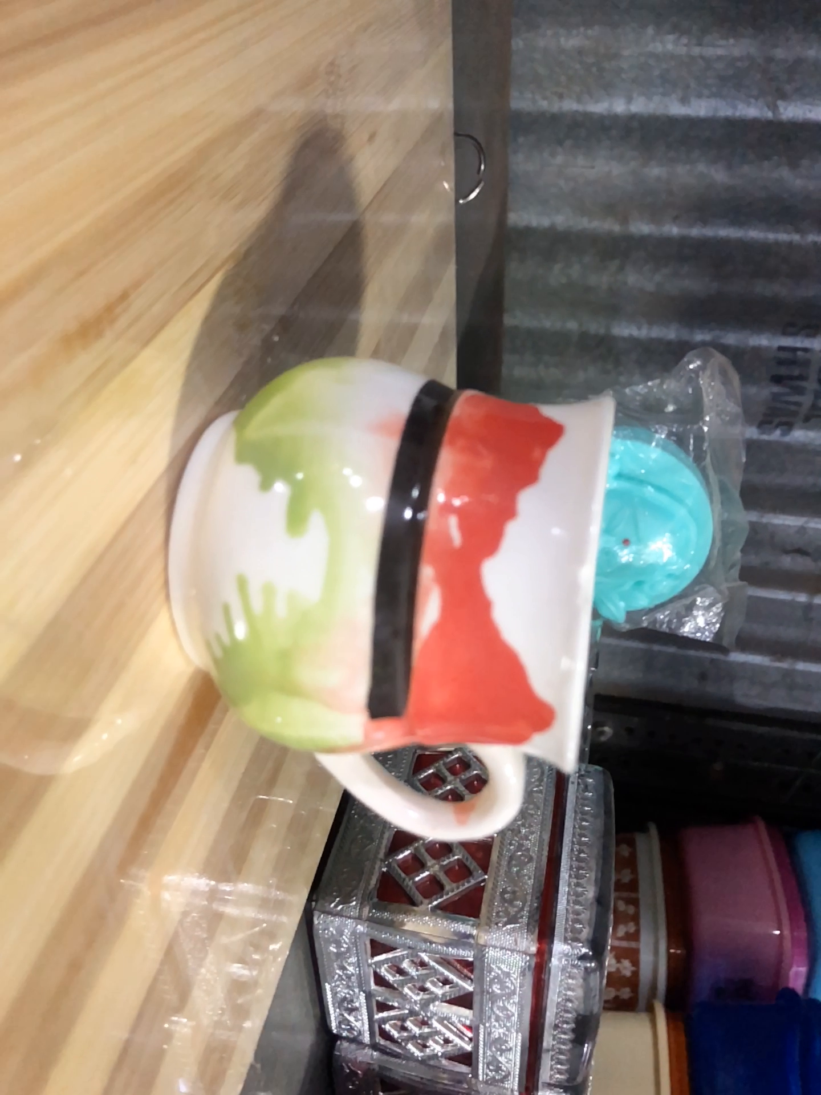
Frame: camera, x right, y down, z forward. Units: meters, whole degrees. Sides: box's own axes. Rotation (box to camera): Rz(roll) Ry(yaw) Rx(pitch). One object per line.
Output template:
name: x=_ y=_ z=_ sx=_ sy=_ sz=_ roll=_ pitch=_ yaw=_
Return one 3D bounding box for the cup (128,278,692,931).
cup: x=0.005 y=0.008 z=0.161 sx=0.060 sy=0.070 sz=0.090 roll=-71 pitch=164 yaw=-55
